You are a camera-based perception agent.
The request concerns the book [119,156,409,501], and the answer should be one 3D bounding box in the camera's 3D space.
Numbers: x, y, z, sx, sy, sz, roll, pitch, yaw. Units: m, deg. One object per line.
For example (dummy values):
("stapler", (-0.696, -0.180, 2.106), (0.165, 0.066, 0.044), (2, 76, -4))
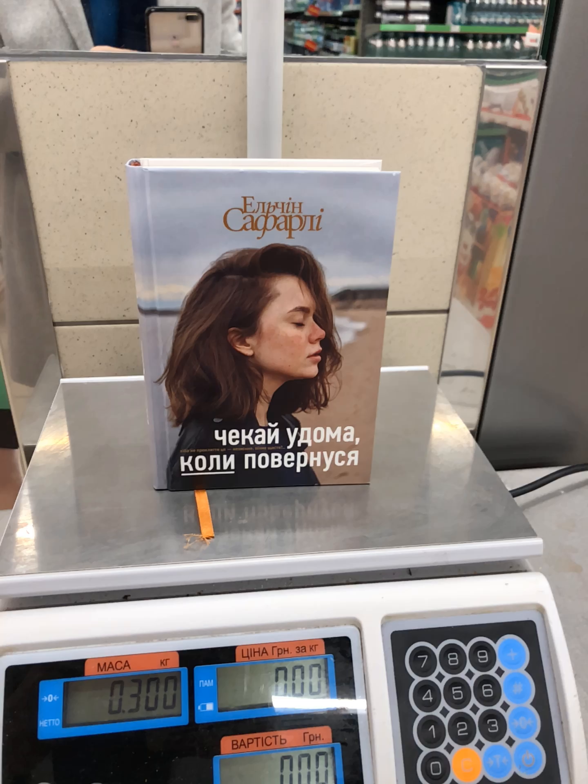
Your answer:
("book", (-0.016, -0.031, 0.362), (0.137, 0.186, 0.037), (-3, 27, -7))
